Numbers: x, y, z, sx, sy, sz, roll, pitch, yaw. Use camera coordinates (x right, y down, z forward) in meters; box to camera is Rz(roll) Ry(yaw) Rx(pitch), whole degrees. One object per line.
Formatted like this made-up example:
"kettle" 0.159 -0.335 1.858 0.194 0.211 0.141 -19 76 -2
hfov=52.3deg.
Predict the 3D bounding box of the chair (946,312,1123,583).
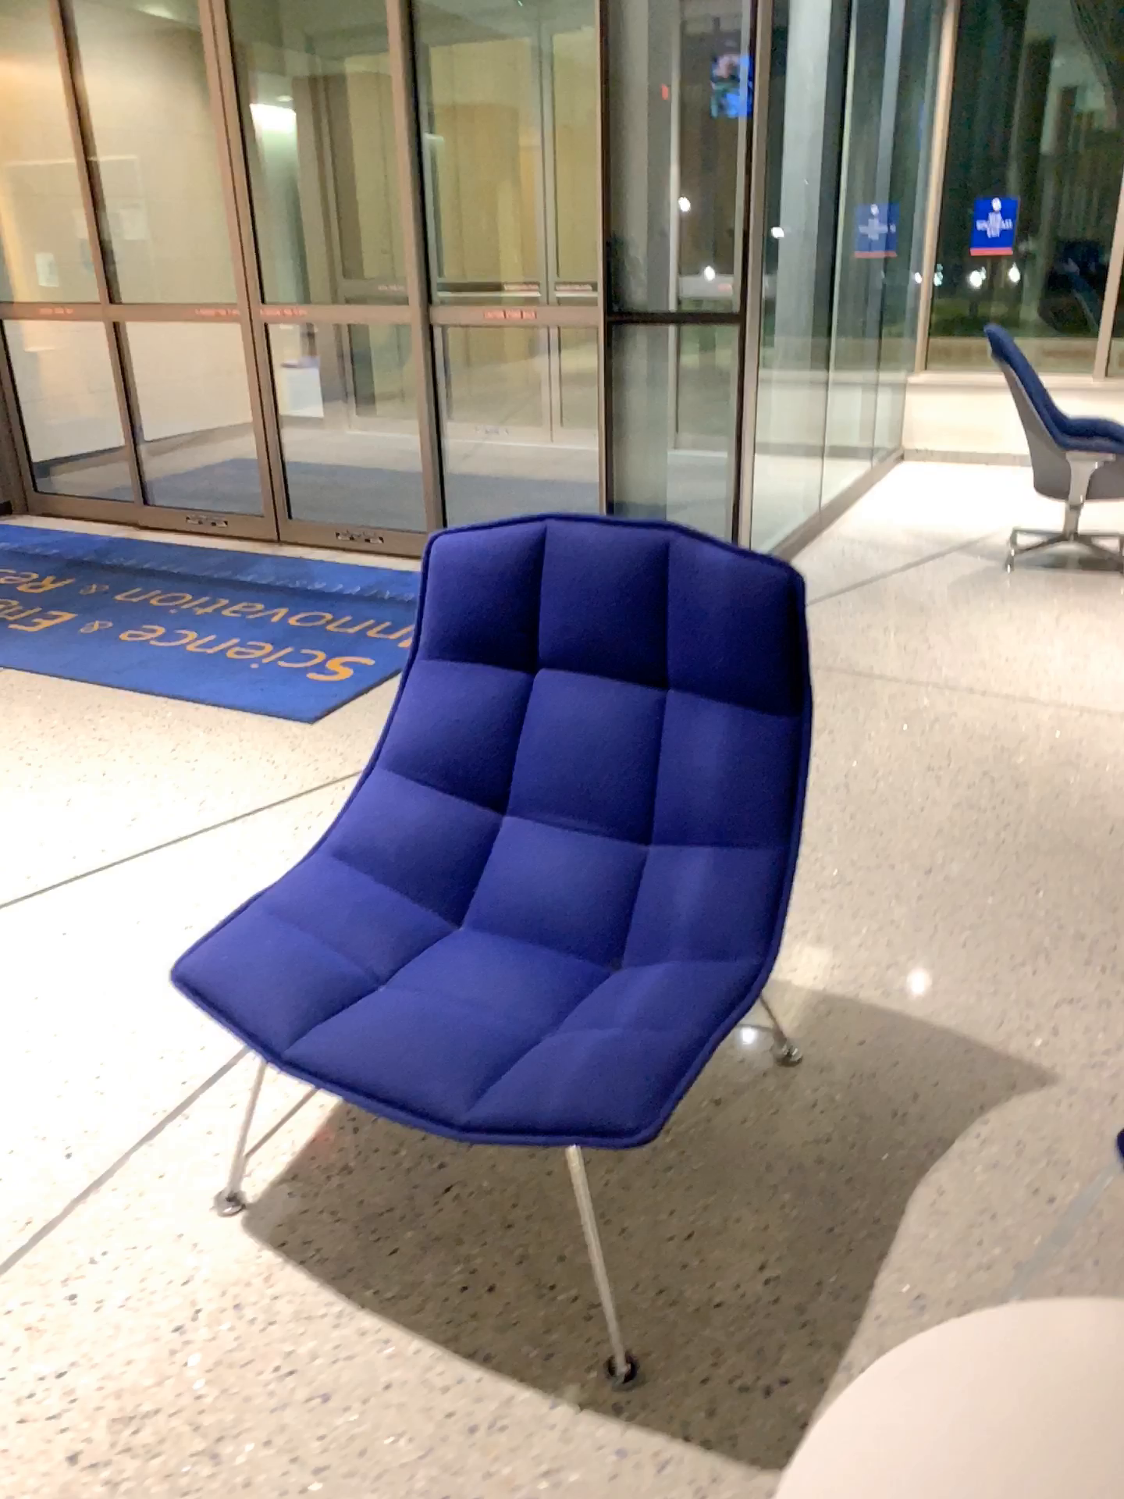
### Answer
"chair" 2.087 -1.281 4.733 0.771 0.933 0.804 9 25 22

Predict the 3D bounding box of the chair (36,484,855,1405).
"chair" -0.093 0.170 1.727 0.809 0.933 0.784 10 26 25

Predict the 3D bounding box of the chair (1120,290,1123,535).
"chair" 2.977 -1.552 5.184 0.671 0.943 0.774 9 26 23
